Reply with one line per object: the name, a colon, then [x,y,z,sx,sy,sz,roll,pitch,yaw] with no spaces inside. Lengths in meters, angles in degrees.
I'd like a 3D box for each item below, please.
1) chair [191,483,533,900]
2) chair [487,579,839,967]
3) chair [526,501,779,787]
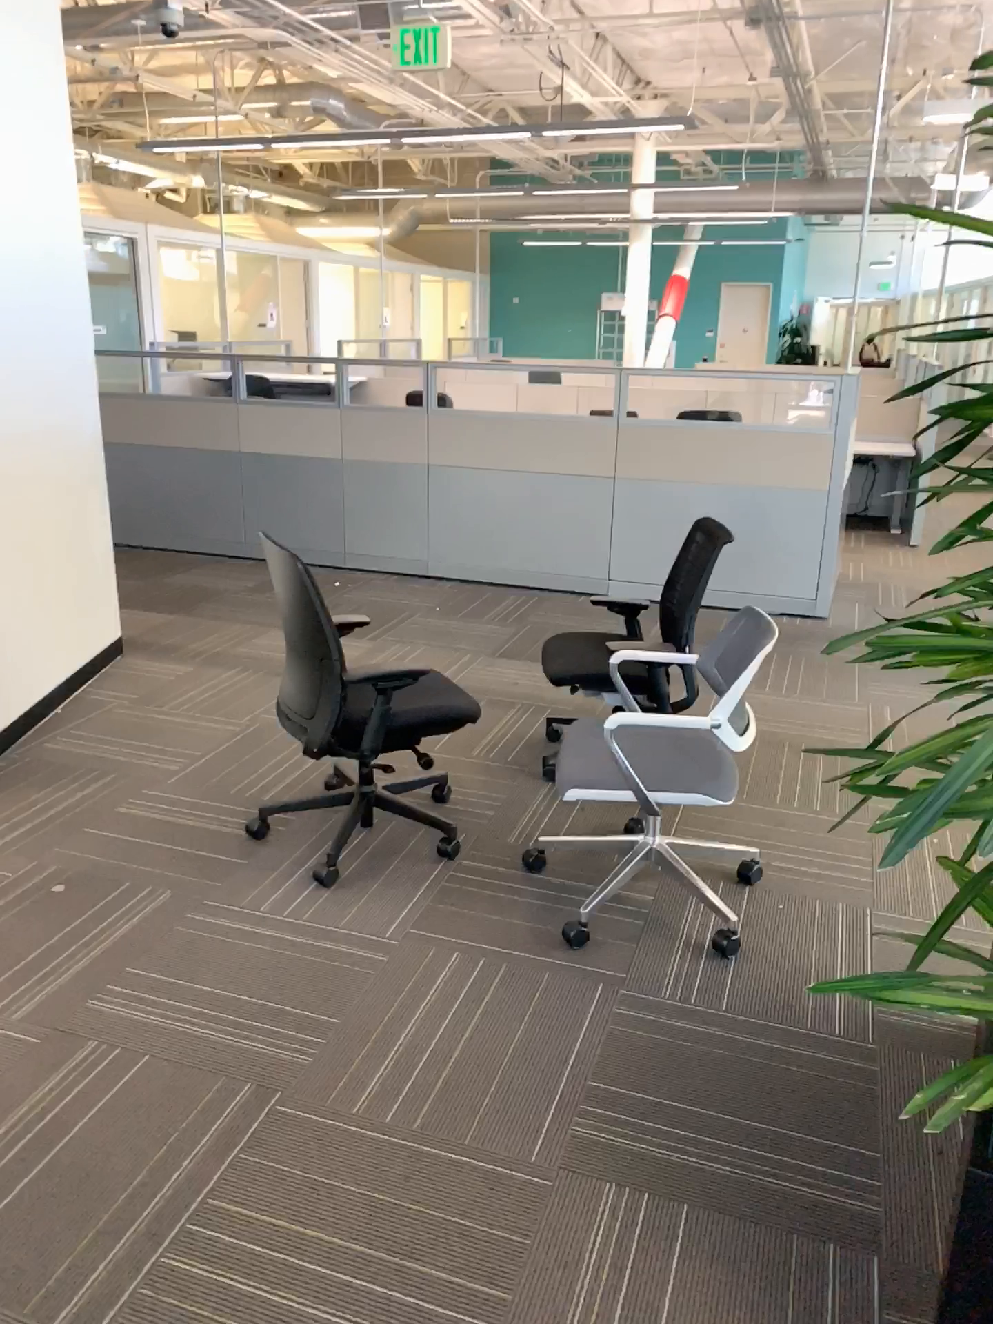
chair: [-0.422,0.017,3.017,0.760,0.956,0.774,-7,20,-25]
chair: [0.398,0.242,2.718,0.760,0.737,0.773,3,18,5]
chair: [0.550,-0.106,3.939,0.760,0.926,0.773,0,17,-5]
